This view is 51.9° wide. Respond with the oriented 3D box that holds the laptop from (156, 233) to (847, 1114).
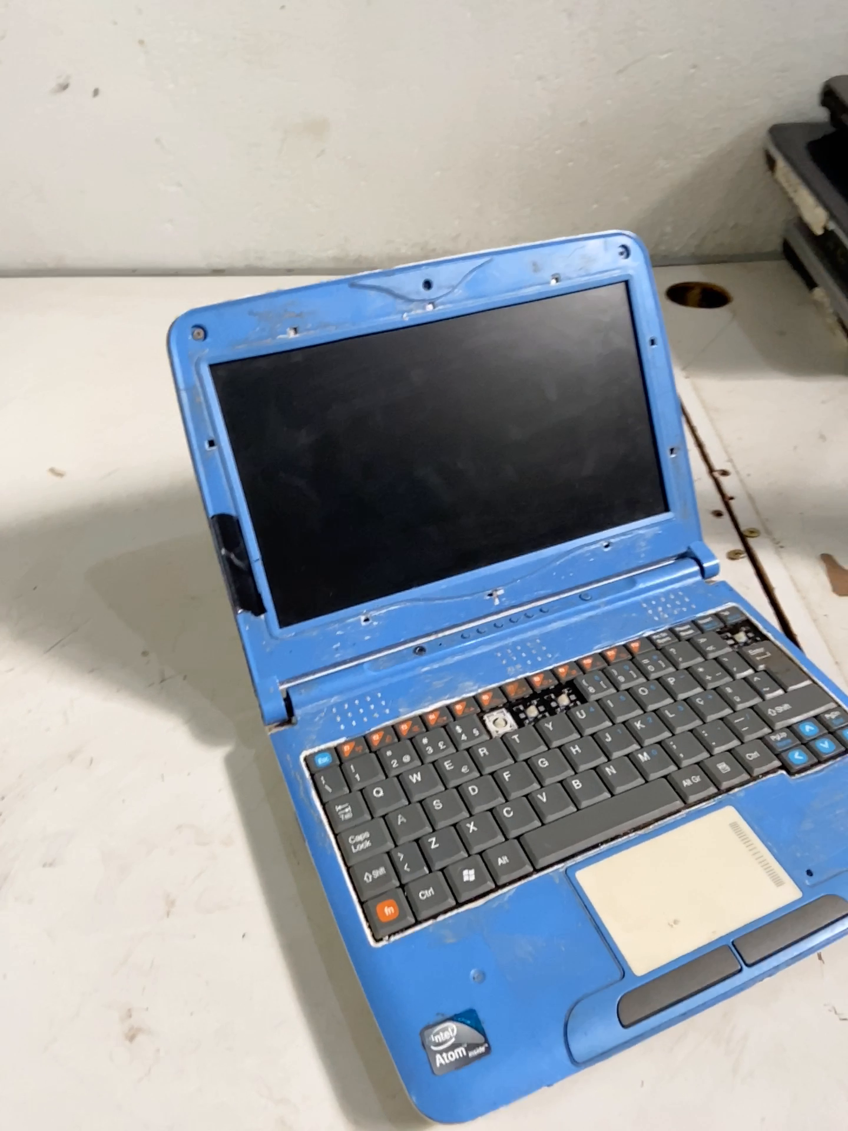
[{"bbox_3d":[0.055,0.002,0.366,0.241,0.149,0.288,-17,44,-18],"label":"laptop"}]
